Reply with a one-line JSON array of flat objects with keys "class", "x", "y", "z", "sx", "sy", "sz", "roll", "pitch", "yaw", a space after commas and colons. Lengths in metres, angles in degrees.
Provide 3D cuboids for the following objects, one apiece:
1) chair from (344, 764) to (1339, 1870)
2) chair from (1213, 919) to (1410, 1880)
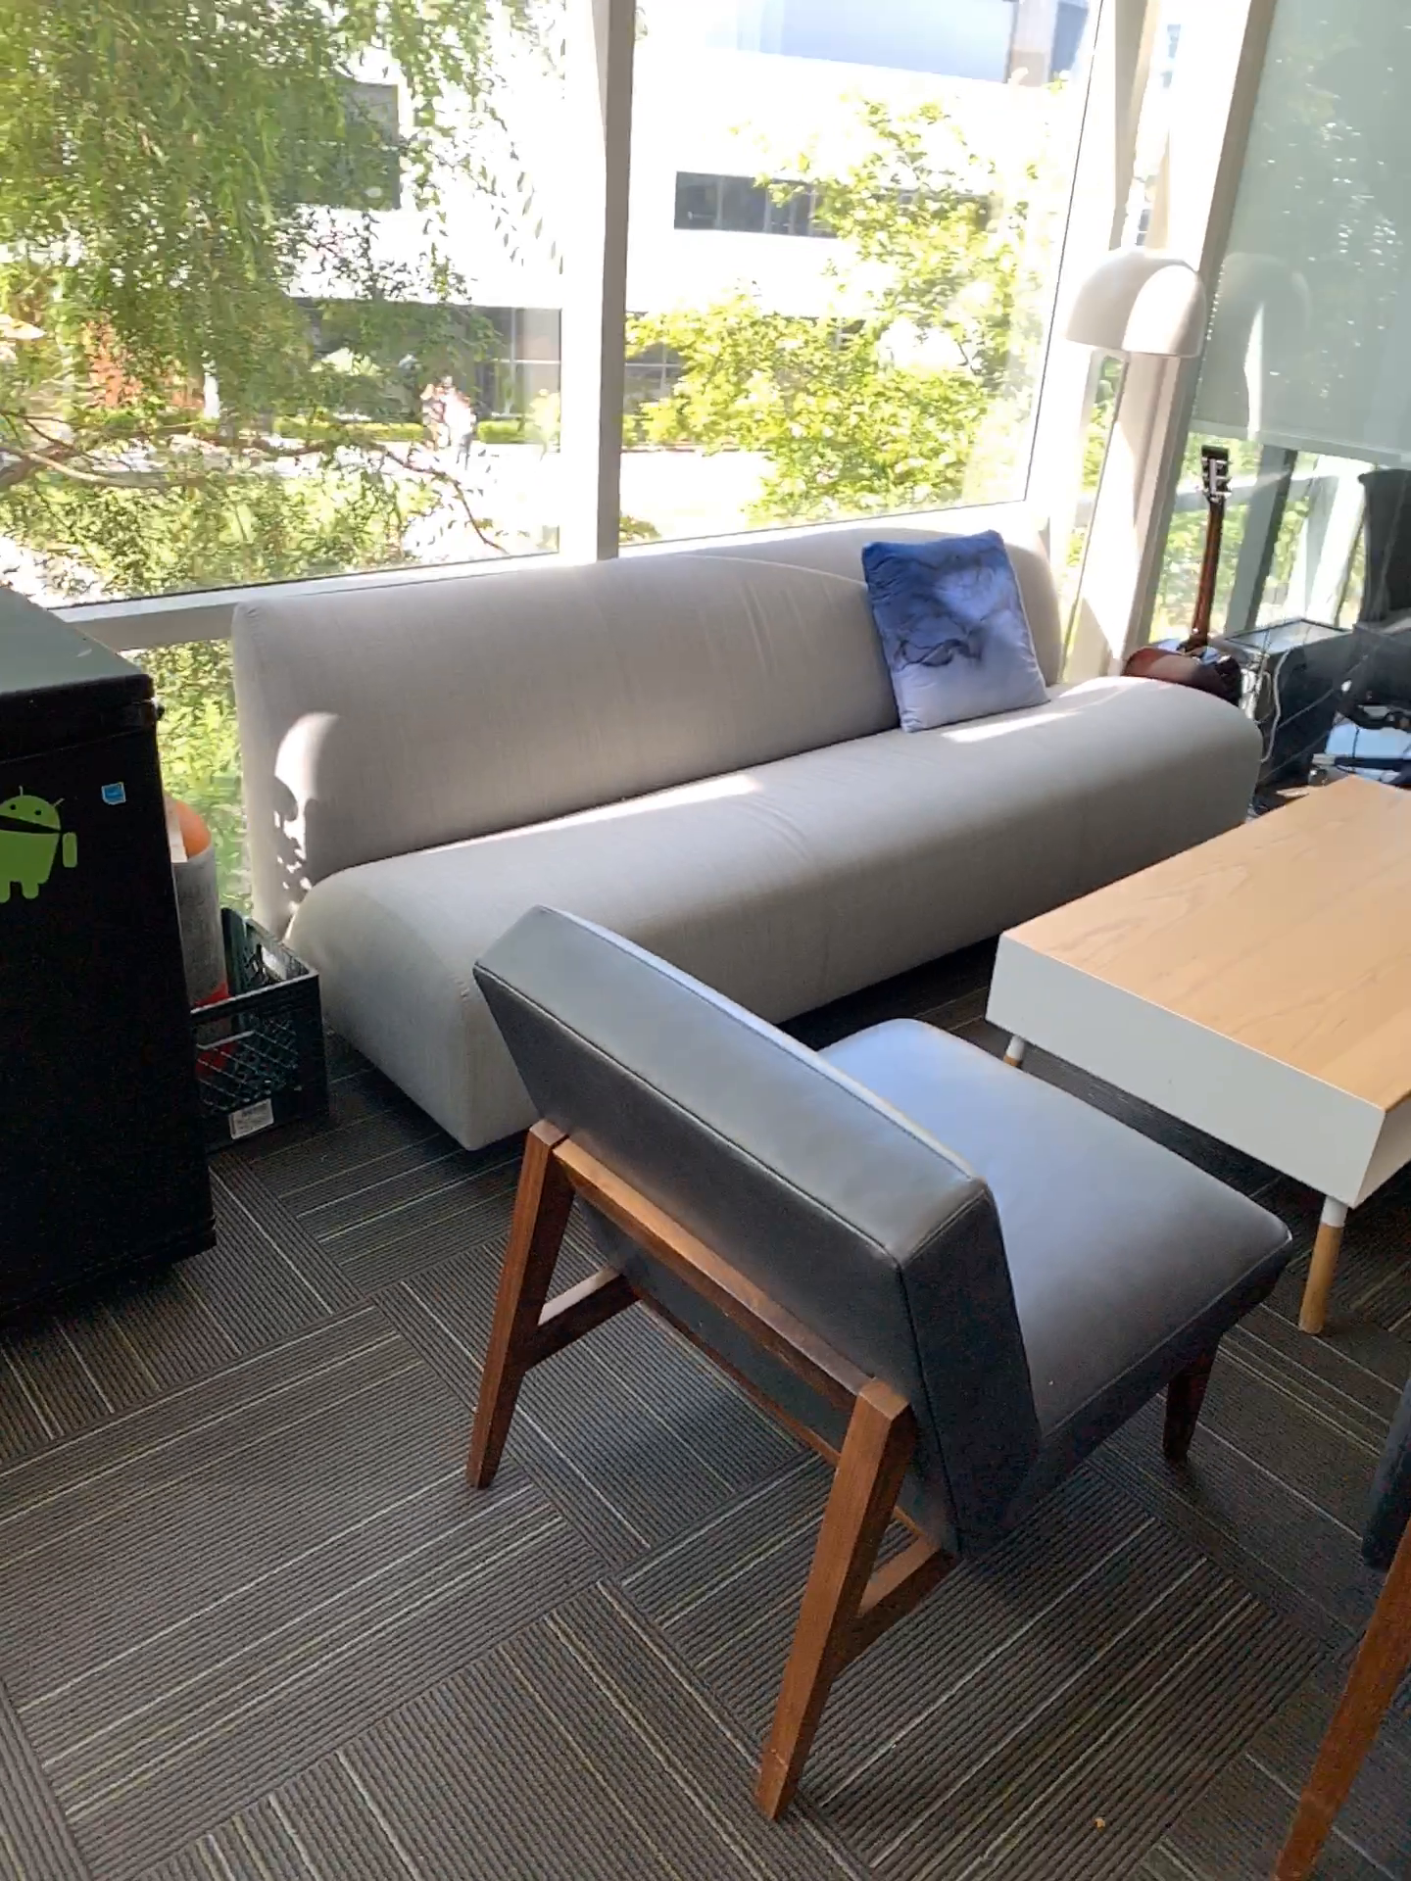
[{"class": "chair", "x": 0.146, "y": 0.339, "z": 1.782, "sx": 0.743, "sy": 0.766, "sz": 0.851, "roll": 27, "pitch": 35, "yaw": 38}, {"class": "chair", "x": 1.066, "y": 0.567, "z": 1.463, "sx": 0.682, "sy": 0.766, "sz": 0.852, "roll": 20, "pitch": 31, "yaw": 29}]
